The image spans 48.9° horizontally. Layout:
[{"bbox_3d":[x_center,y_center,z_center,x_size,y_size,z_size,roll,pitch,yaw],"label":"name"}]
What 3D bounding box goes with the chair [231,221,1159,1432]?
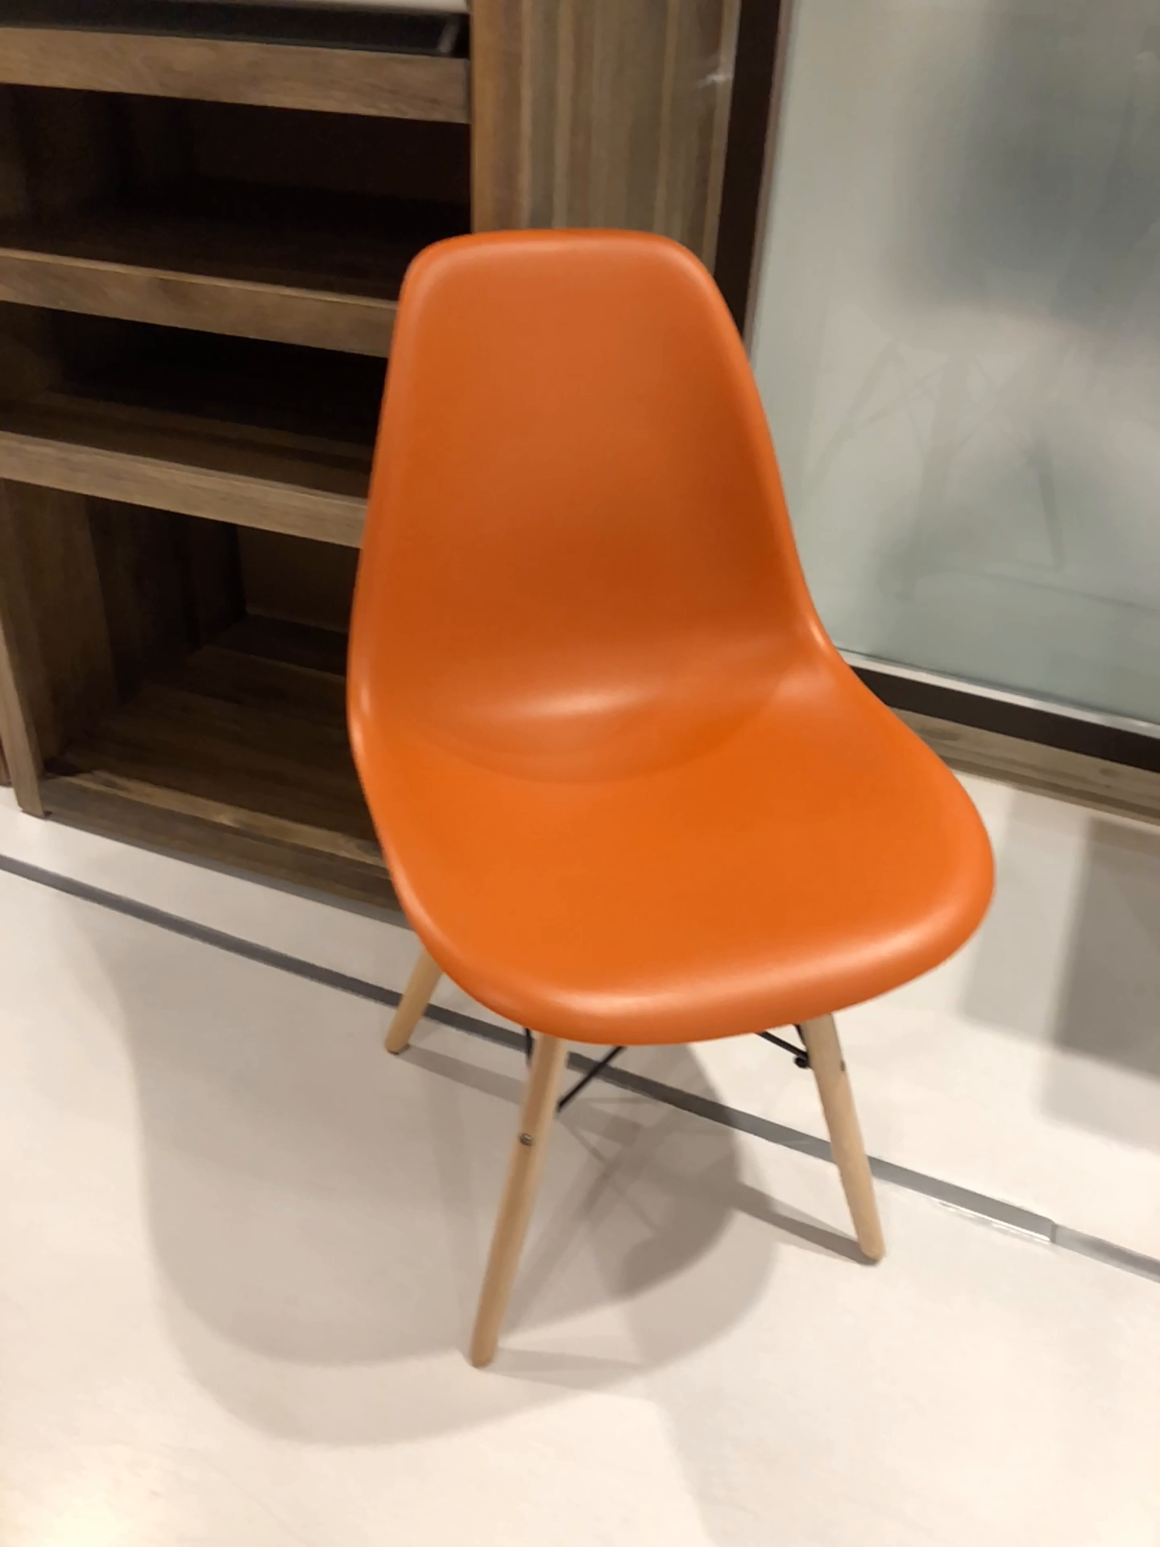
[{"bbox_3d":[0.025,-0.001,1.065,0.491,0.744,0.584,-8,35,-16],"label":"chair"}]
